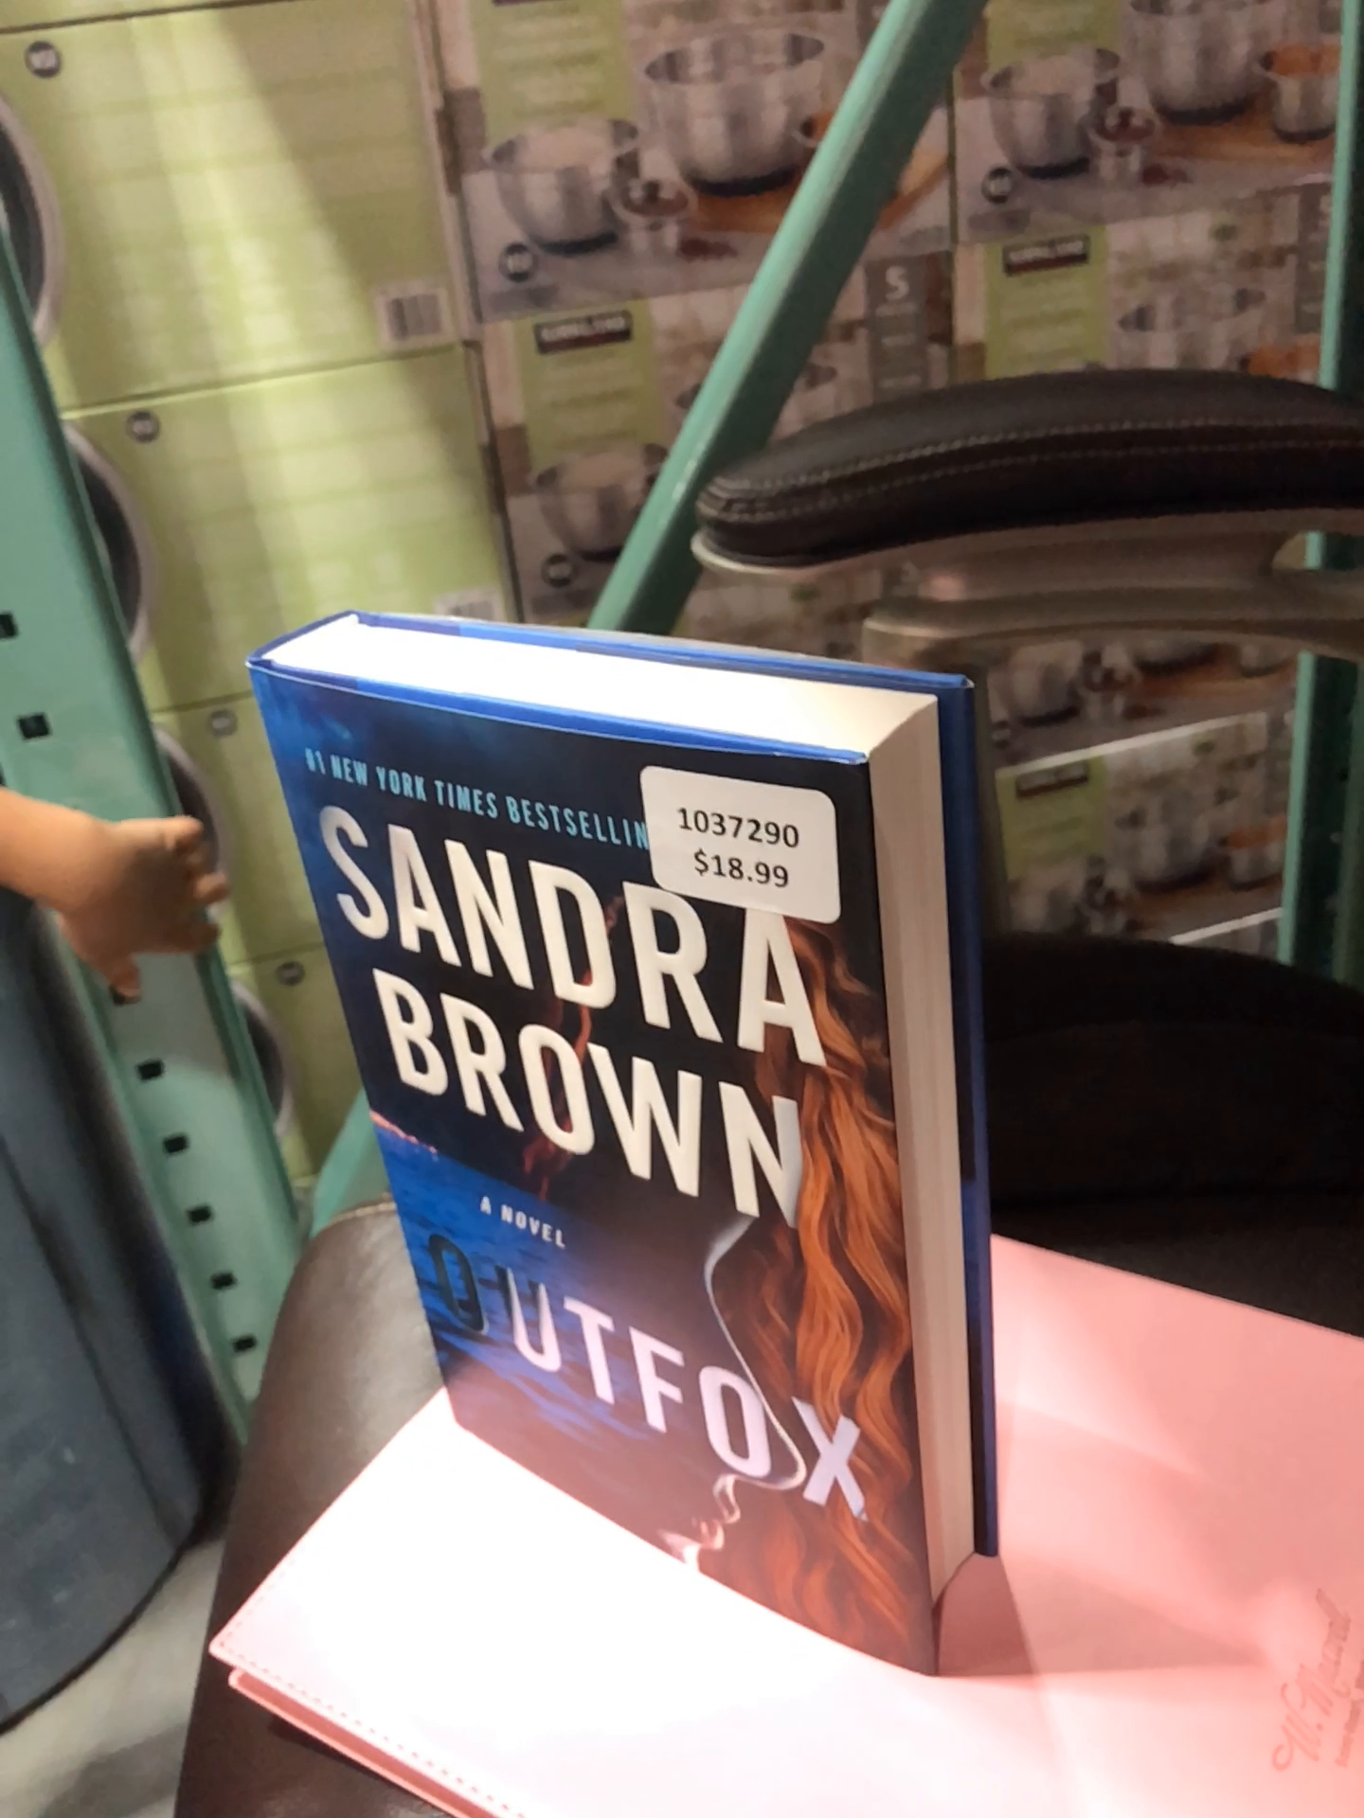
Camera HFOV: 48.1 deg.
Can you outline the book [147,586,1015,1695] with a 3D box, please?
[{"bbox_3d":[-0.016,0.050,0.348,0.168,0.228,0.048,13,37,34],"label":"book"}]
